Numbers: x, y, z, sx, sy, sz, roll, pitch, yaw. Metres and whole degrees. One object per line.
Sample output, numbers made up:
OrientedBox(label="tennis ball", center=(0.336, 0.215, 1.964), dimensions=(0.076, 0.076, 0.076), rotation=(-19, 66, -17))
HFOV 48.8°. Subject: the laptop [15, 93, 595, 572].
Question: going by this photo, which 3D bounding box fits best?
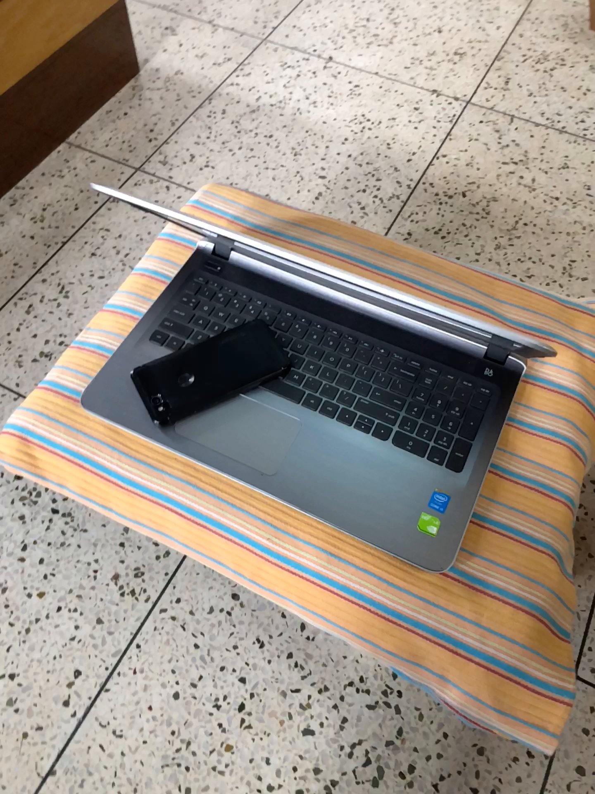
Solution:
OrientedBox(label="laptop", center=(0.015, -0.063, 0.565), dimensions=(0.372, 0.184, 0.237), rotation=(23, 60, 13))
